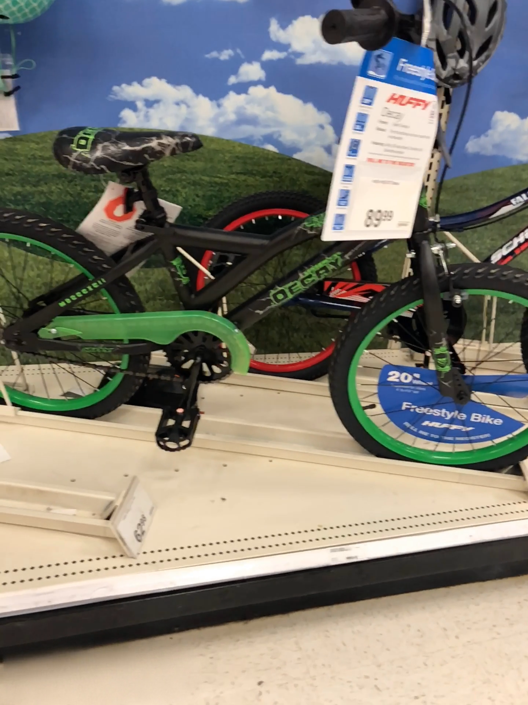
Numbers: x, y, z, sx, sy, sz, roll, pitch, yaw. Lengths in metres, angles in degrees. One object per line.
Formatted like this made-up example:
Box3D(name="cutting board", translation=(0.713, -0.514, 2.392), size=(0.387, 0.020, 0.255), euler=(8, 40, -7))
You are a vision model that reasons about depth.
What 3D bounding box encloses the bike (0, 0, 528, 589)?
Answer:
Box3D(name="bike", translation=(-0.013, -0.211, 1.061), size=(1.361, 0.879, 0.631), euler=(6, 25, 3))
